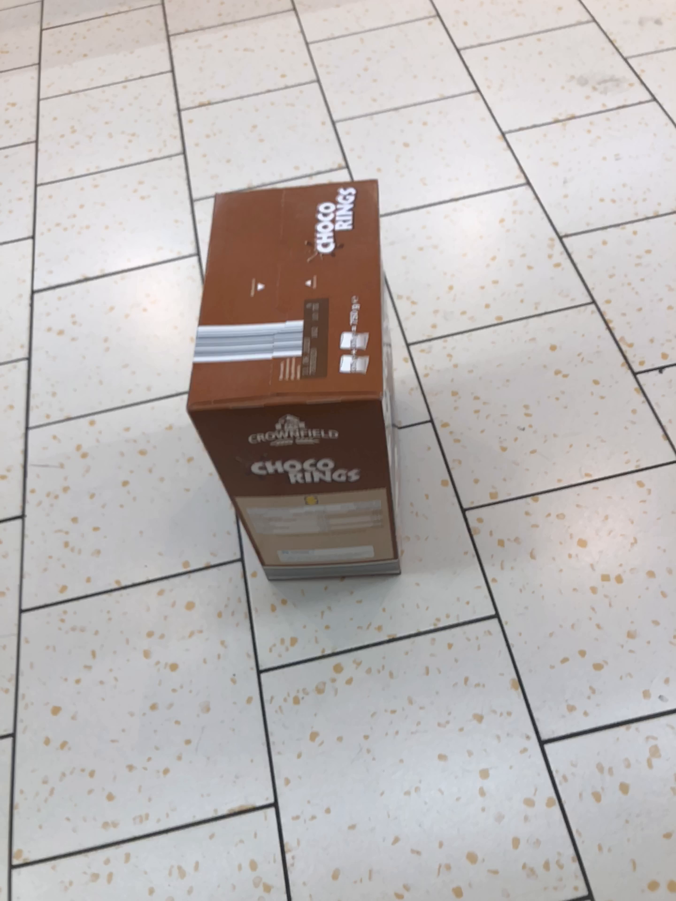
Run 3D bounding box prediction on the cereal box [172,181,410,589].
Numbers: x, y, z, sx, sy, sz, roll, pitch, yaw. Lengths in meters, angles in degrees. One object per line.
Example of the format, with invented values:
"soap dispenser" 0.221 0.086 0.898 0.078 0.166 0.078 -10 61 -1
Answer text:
"cereal box" -0.015 -0.036 0.583 0.130 0.249 0.201 -2 57 6
